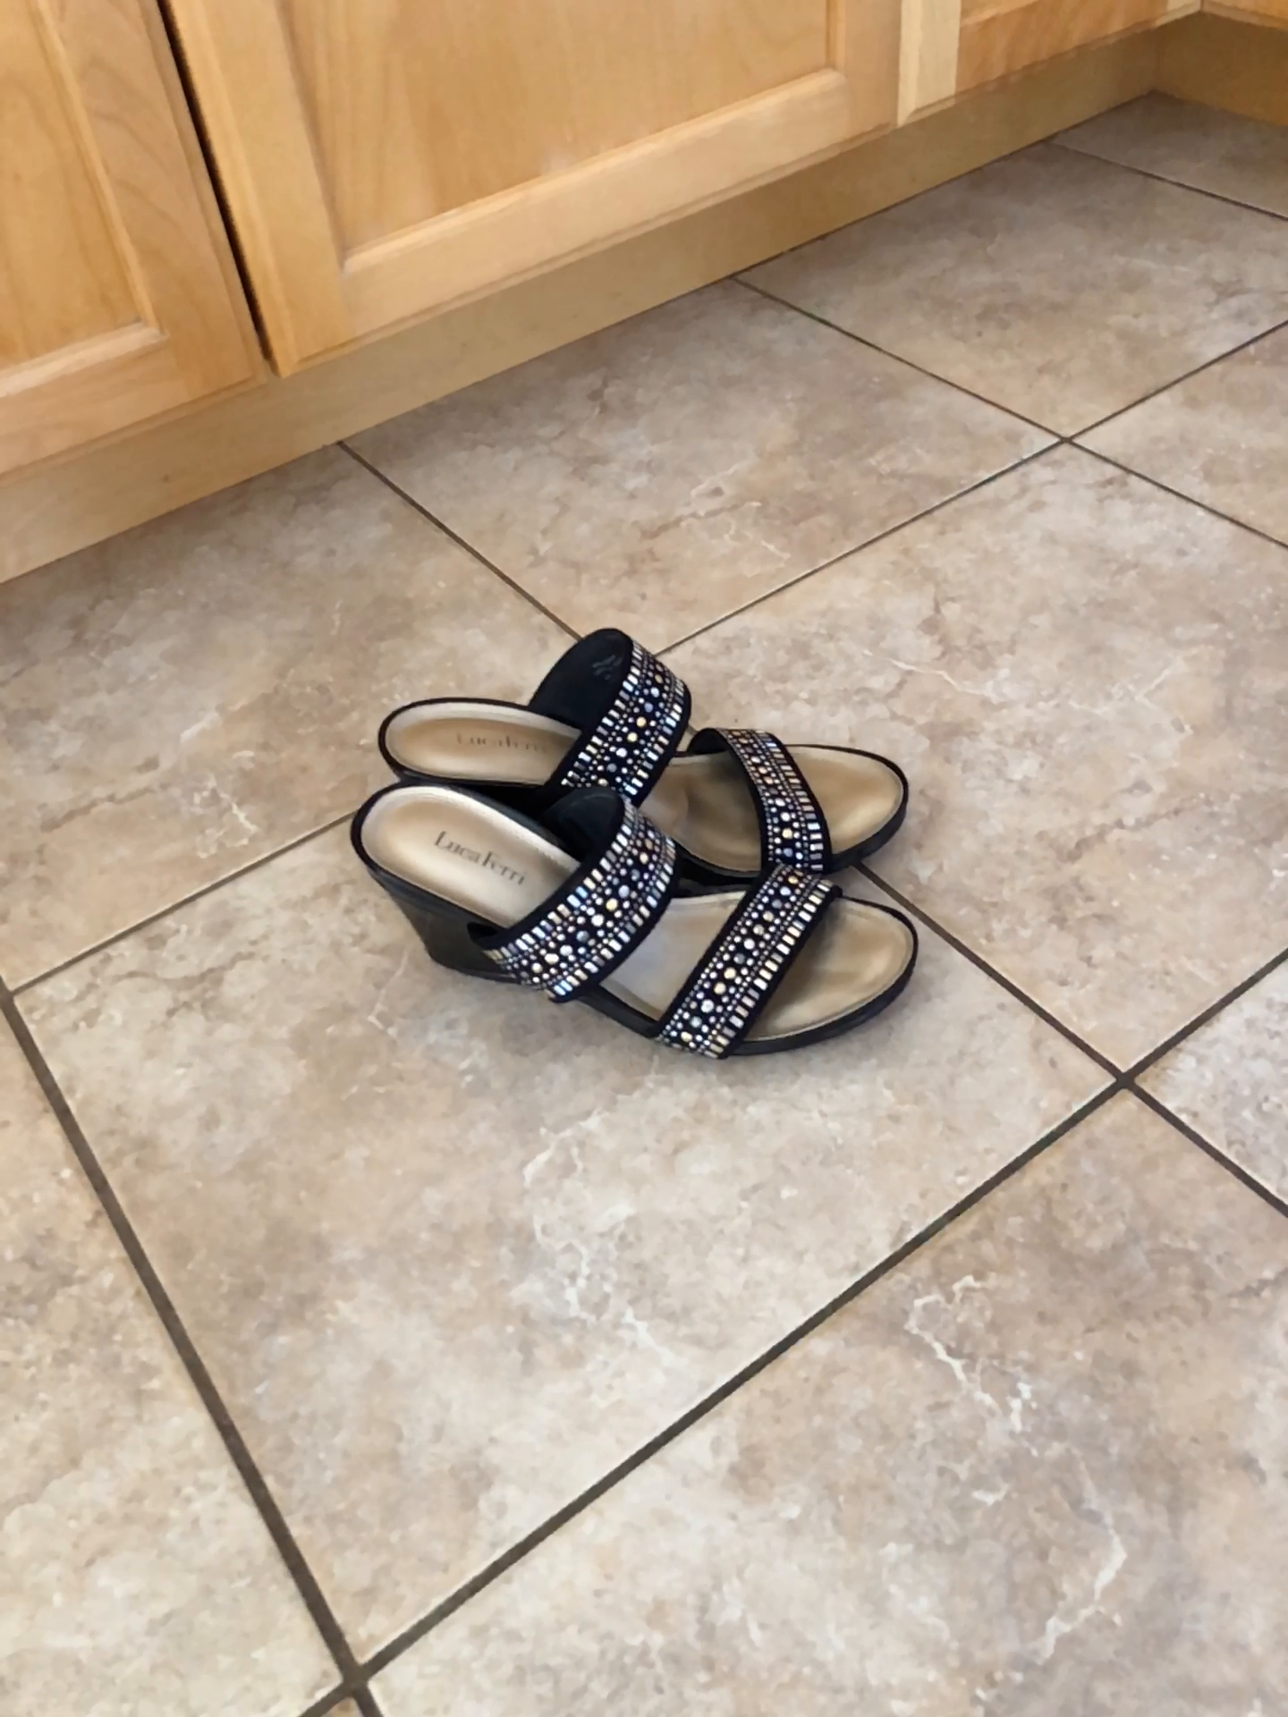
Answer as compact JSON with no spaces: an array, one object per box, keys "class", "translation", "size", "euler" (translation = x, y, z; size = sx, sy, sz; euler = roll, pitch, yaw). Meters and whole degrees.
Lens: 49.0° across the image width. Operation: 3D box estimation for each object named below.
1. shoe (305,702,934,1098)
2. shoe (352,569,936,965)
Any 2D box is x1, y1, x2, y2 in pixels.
[{"class":"shoe","translation":[-0.003,0.014,0.561],"size":[0.220,0.100,0.090],"euler":[6,47,13]},{"class":"shoe","translation":[0.001,-0.039,0.603],"size":[0.220,0.100,0.110],"euler":[-6,46,2]}]
